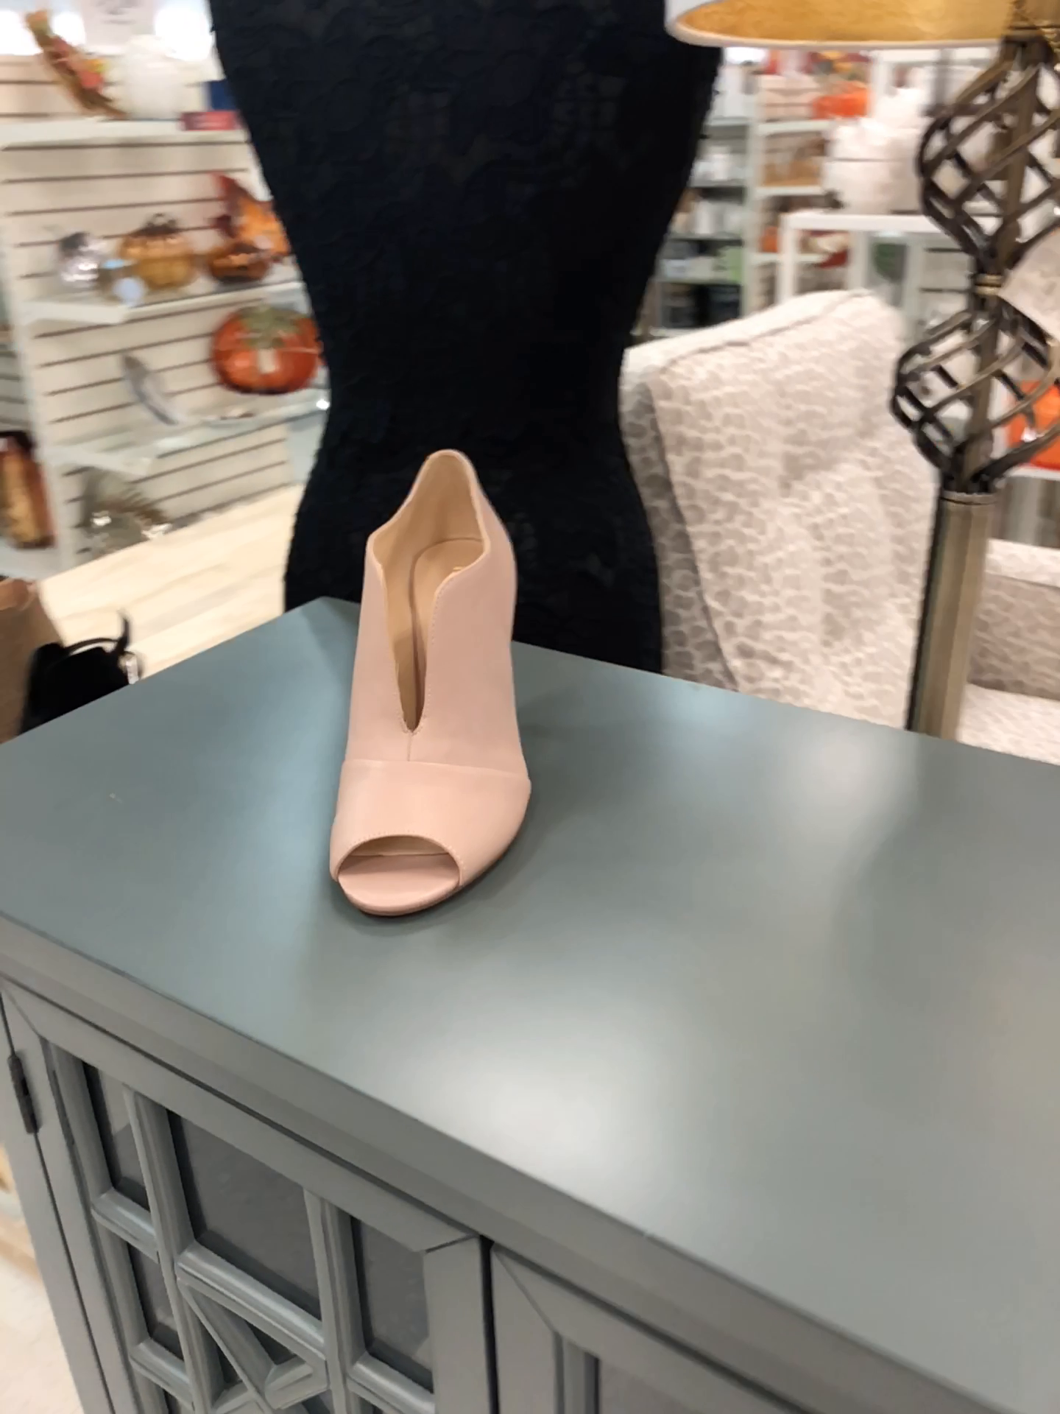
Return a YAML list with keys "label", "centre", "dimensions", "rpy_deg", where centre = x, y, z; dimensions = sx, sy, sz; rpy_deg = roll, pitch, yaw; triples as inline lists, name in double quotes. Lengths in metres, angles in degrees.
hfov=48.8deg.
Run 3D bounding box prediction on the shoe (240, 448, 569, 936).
- label: "shoe"
  centre: [-0.043, -0.023, 0.566]
  dimensions: [0.097, 0.151, 0.226]
  rpy_deg: [2, 26, 8]
